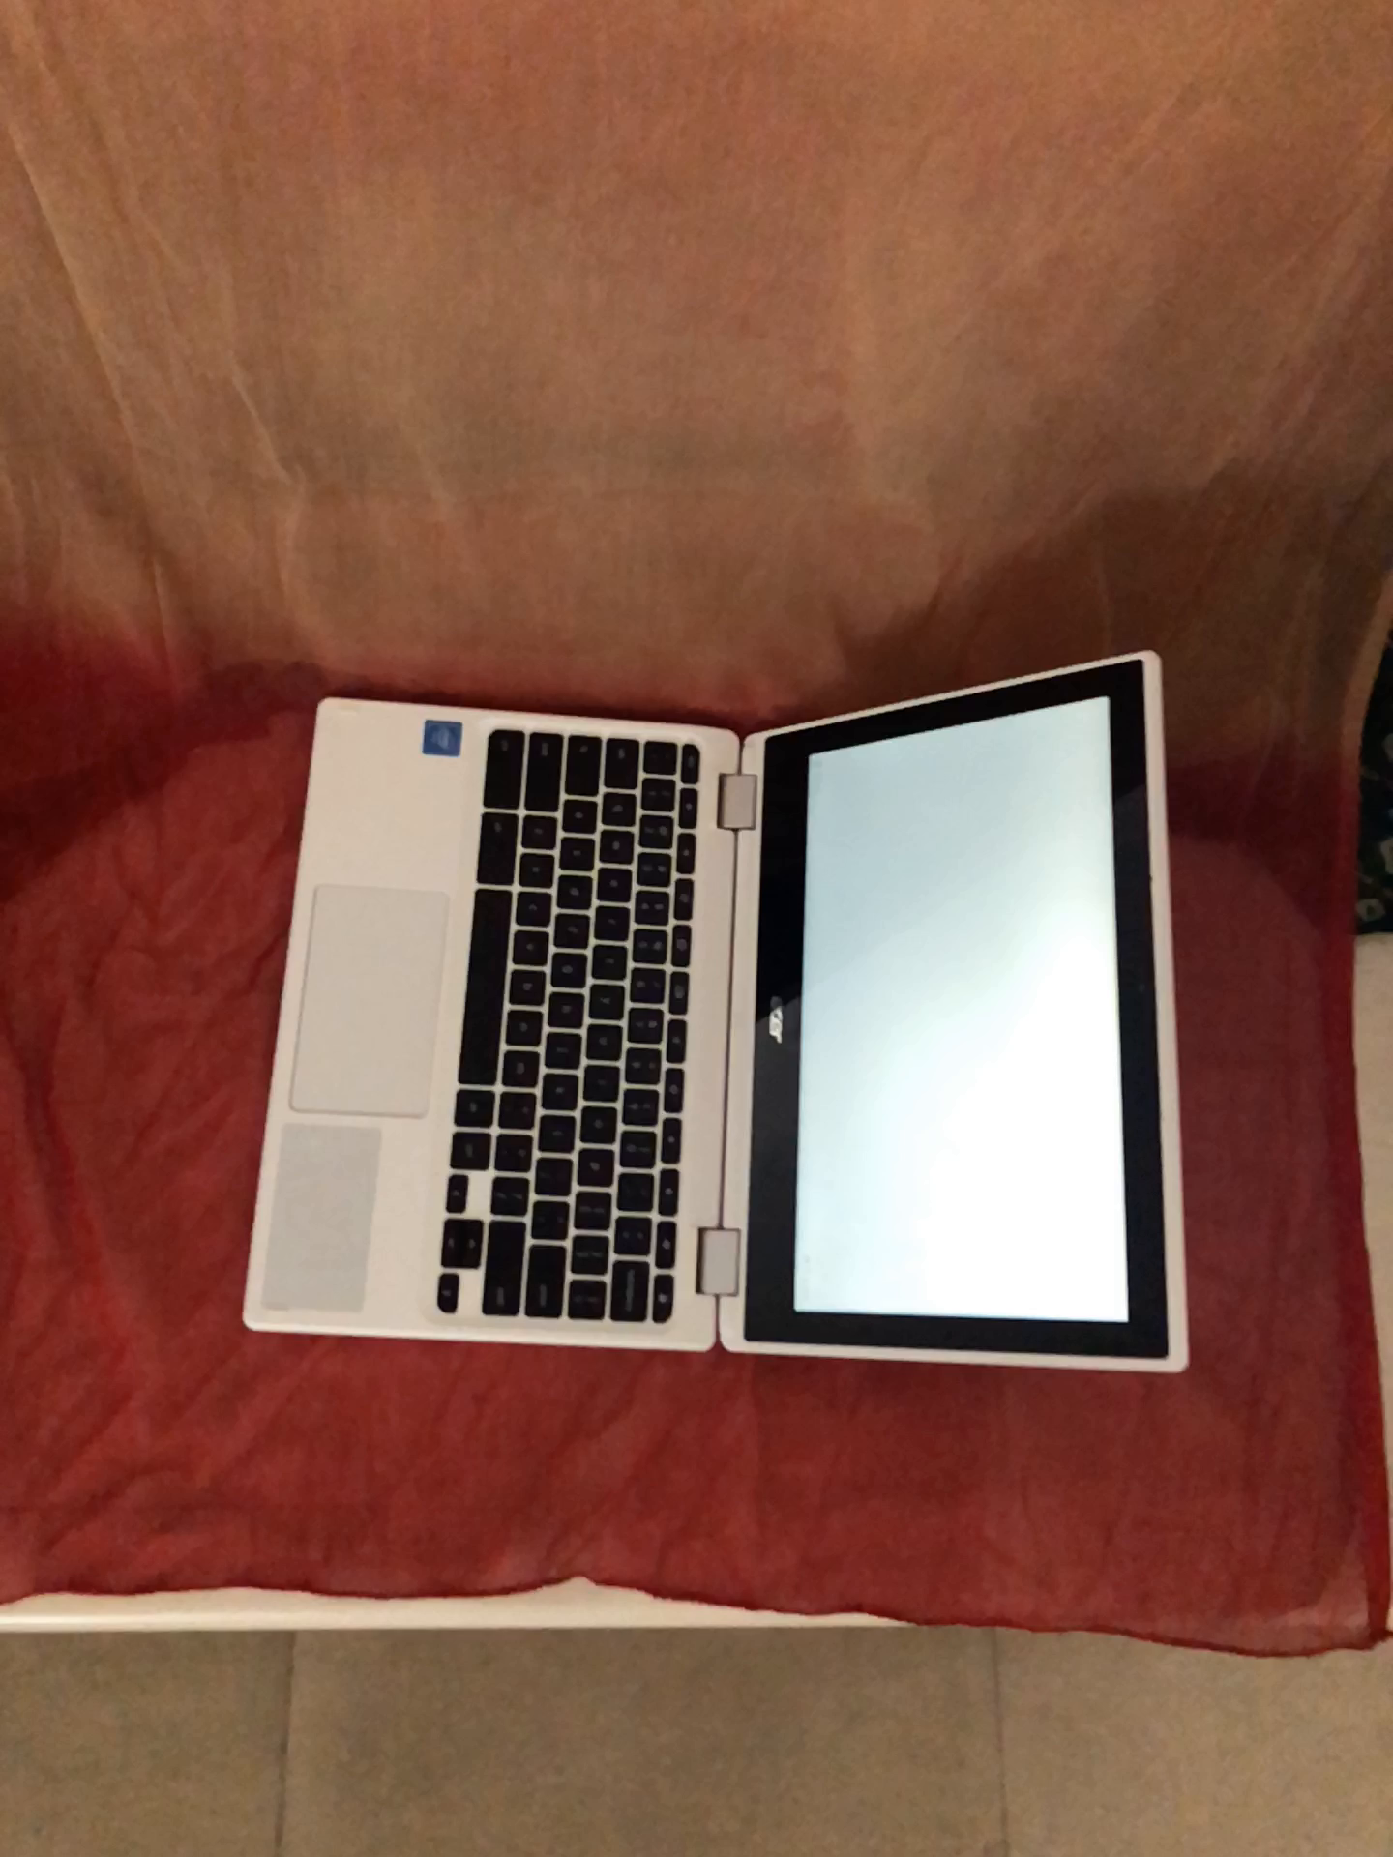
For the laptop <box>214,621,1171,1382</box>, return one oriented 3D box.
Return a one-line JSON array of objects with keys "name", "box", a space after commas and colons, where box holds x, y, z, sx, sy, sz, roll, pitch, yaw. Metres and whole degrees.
[{"name": "laptop", "box": [0.003, 0.037, 0.629, 0.337, 0.113, 0.263, 4, 74, -3]}]
